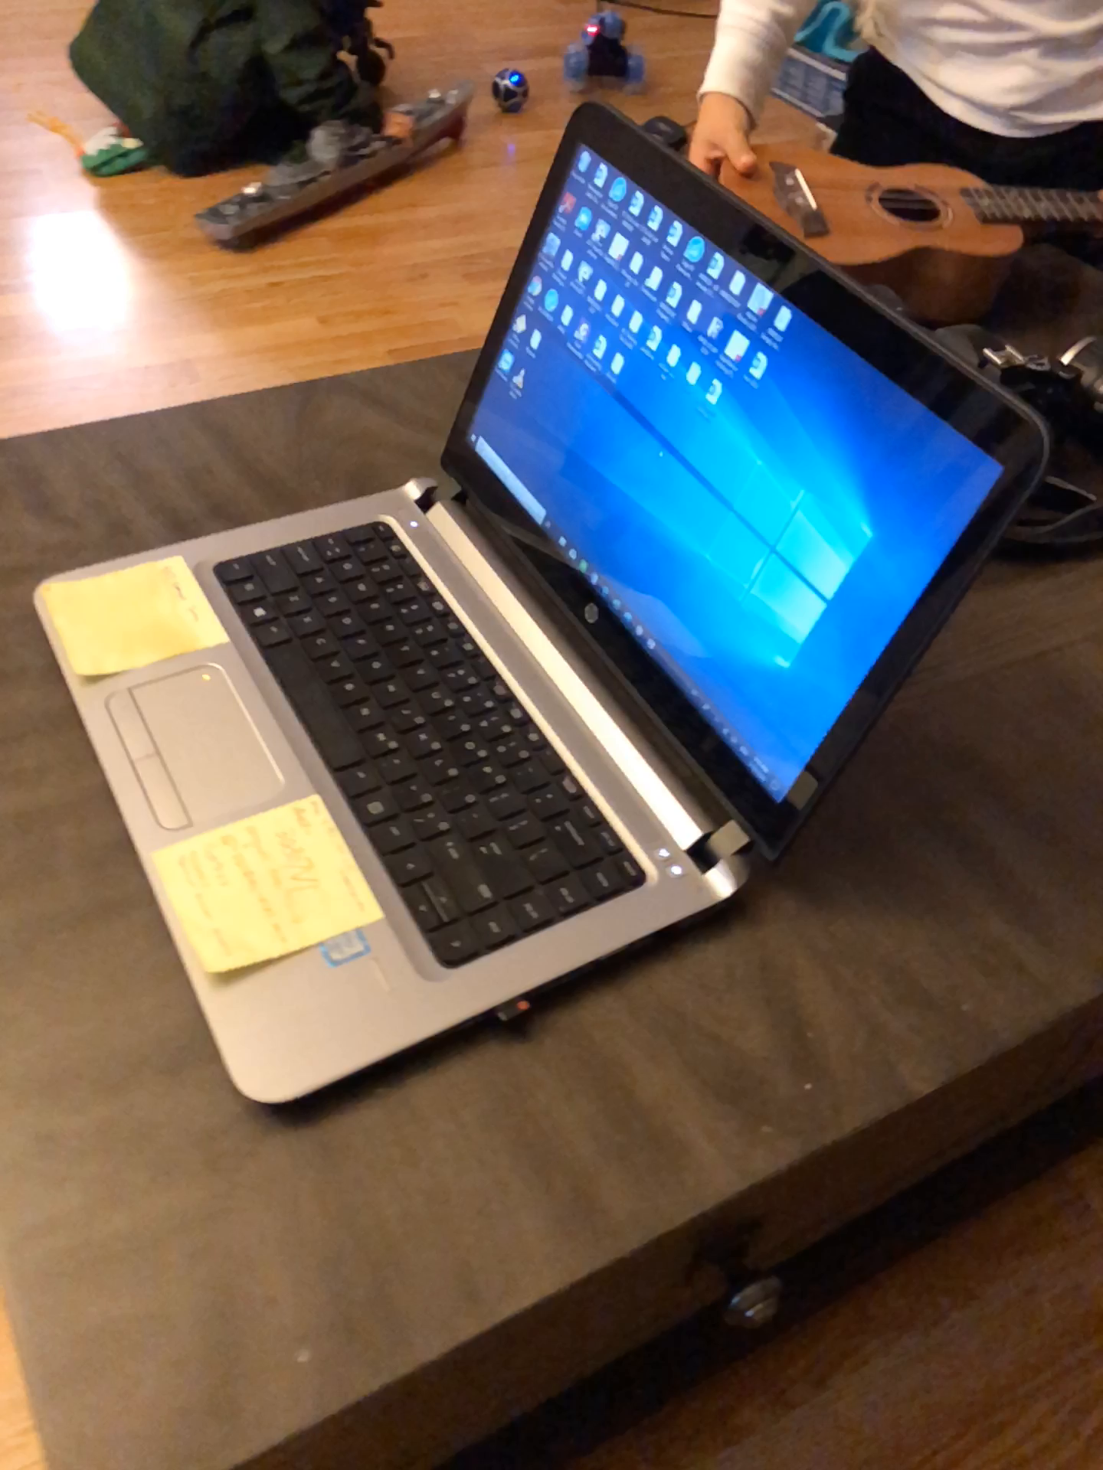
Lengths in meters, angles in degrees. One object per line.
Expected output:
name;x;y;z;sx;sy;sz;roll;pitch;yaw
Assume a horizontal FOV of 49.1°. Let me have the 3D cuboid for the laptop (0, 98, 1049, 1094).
laptop;-0.046;-0.092;0.528;0.306;0.208;0.321;-20;52;-23
